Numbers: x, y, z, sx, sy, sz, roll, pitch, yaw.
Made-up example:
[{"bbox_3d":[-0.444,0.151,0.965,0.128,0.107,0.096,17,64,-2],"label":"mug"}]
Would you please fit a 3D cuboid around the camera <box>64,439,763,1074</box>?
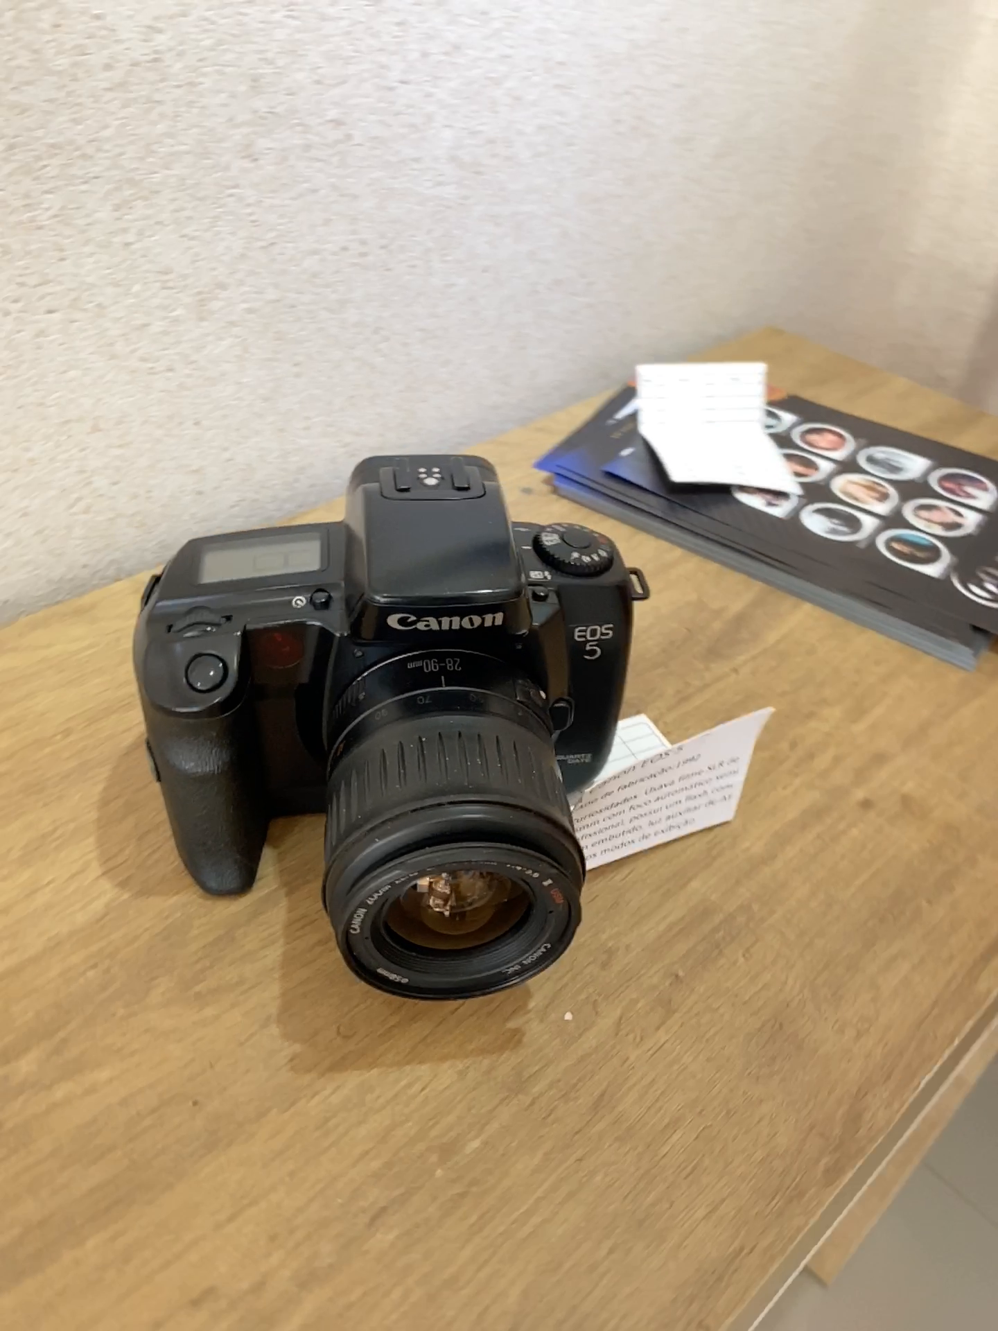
[{"bbox_3d":[-0.034,0.012,0.328,0.160,0.079,0.181,-5,41,-10],"label":"camera"}]
